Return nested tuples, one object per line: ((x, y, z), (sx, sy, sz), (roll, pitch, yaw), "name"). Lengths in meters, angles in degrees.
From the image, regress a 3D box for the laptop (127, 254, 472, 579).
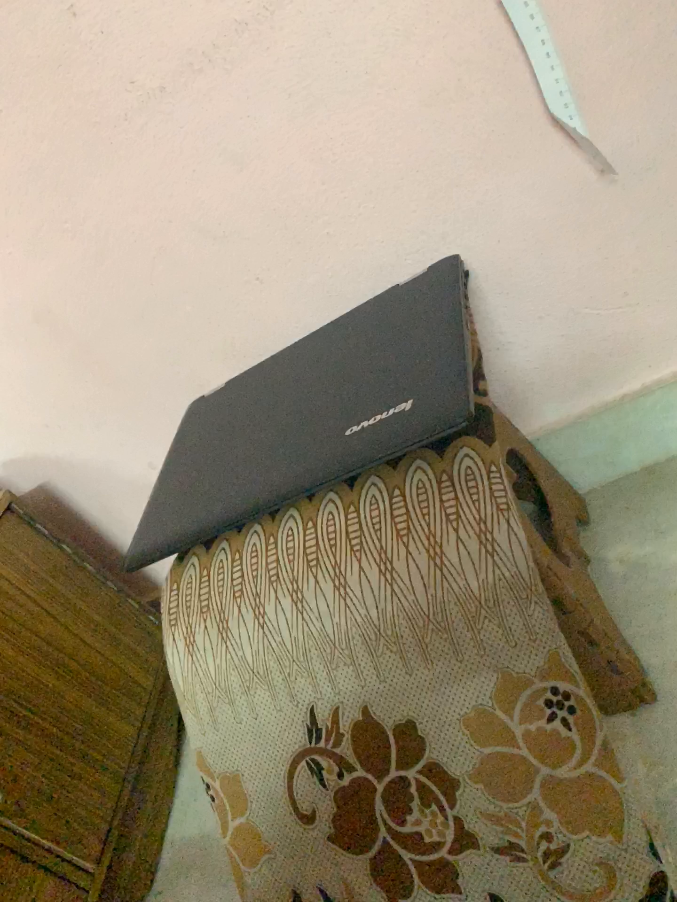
((-0.035, -0.030, 0.582), (0.313, 0.012, 0.214), (-25, 36, 27), "laptop")
